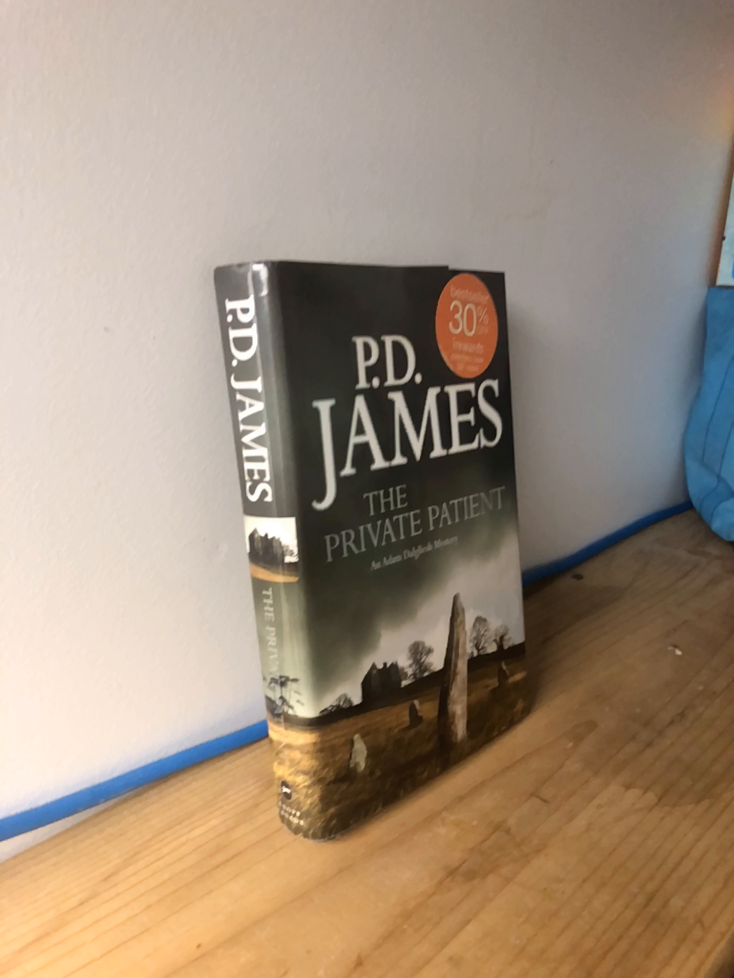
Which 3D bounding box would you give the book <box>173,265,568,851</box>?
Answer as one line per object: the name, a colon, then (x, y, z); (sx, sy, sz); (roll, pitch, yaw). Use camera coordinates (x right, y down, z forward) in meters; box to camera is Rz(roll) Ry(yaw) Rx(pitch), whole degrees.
book: (0.016, 0.015, 0.381); (0.180, 0.229, 0.040); (-13, 10, -40)
